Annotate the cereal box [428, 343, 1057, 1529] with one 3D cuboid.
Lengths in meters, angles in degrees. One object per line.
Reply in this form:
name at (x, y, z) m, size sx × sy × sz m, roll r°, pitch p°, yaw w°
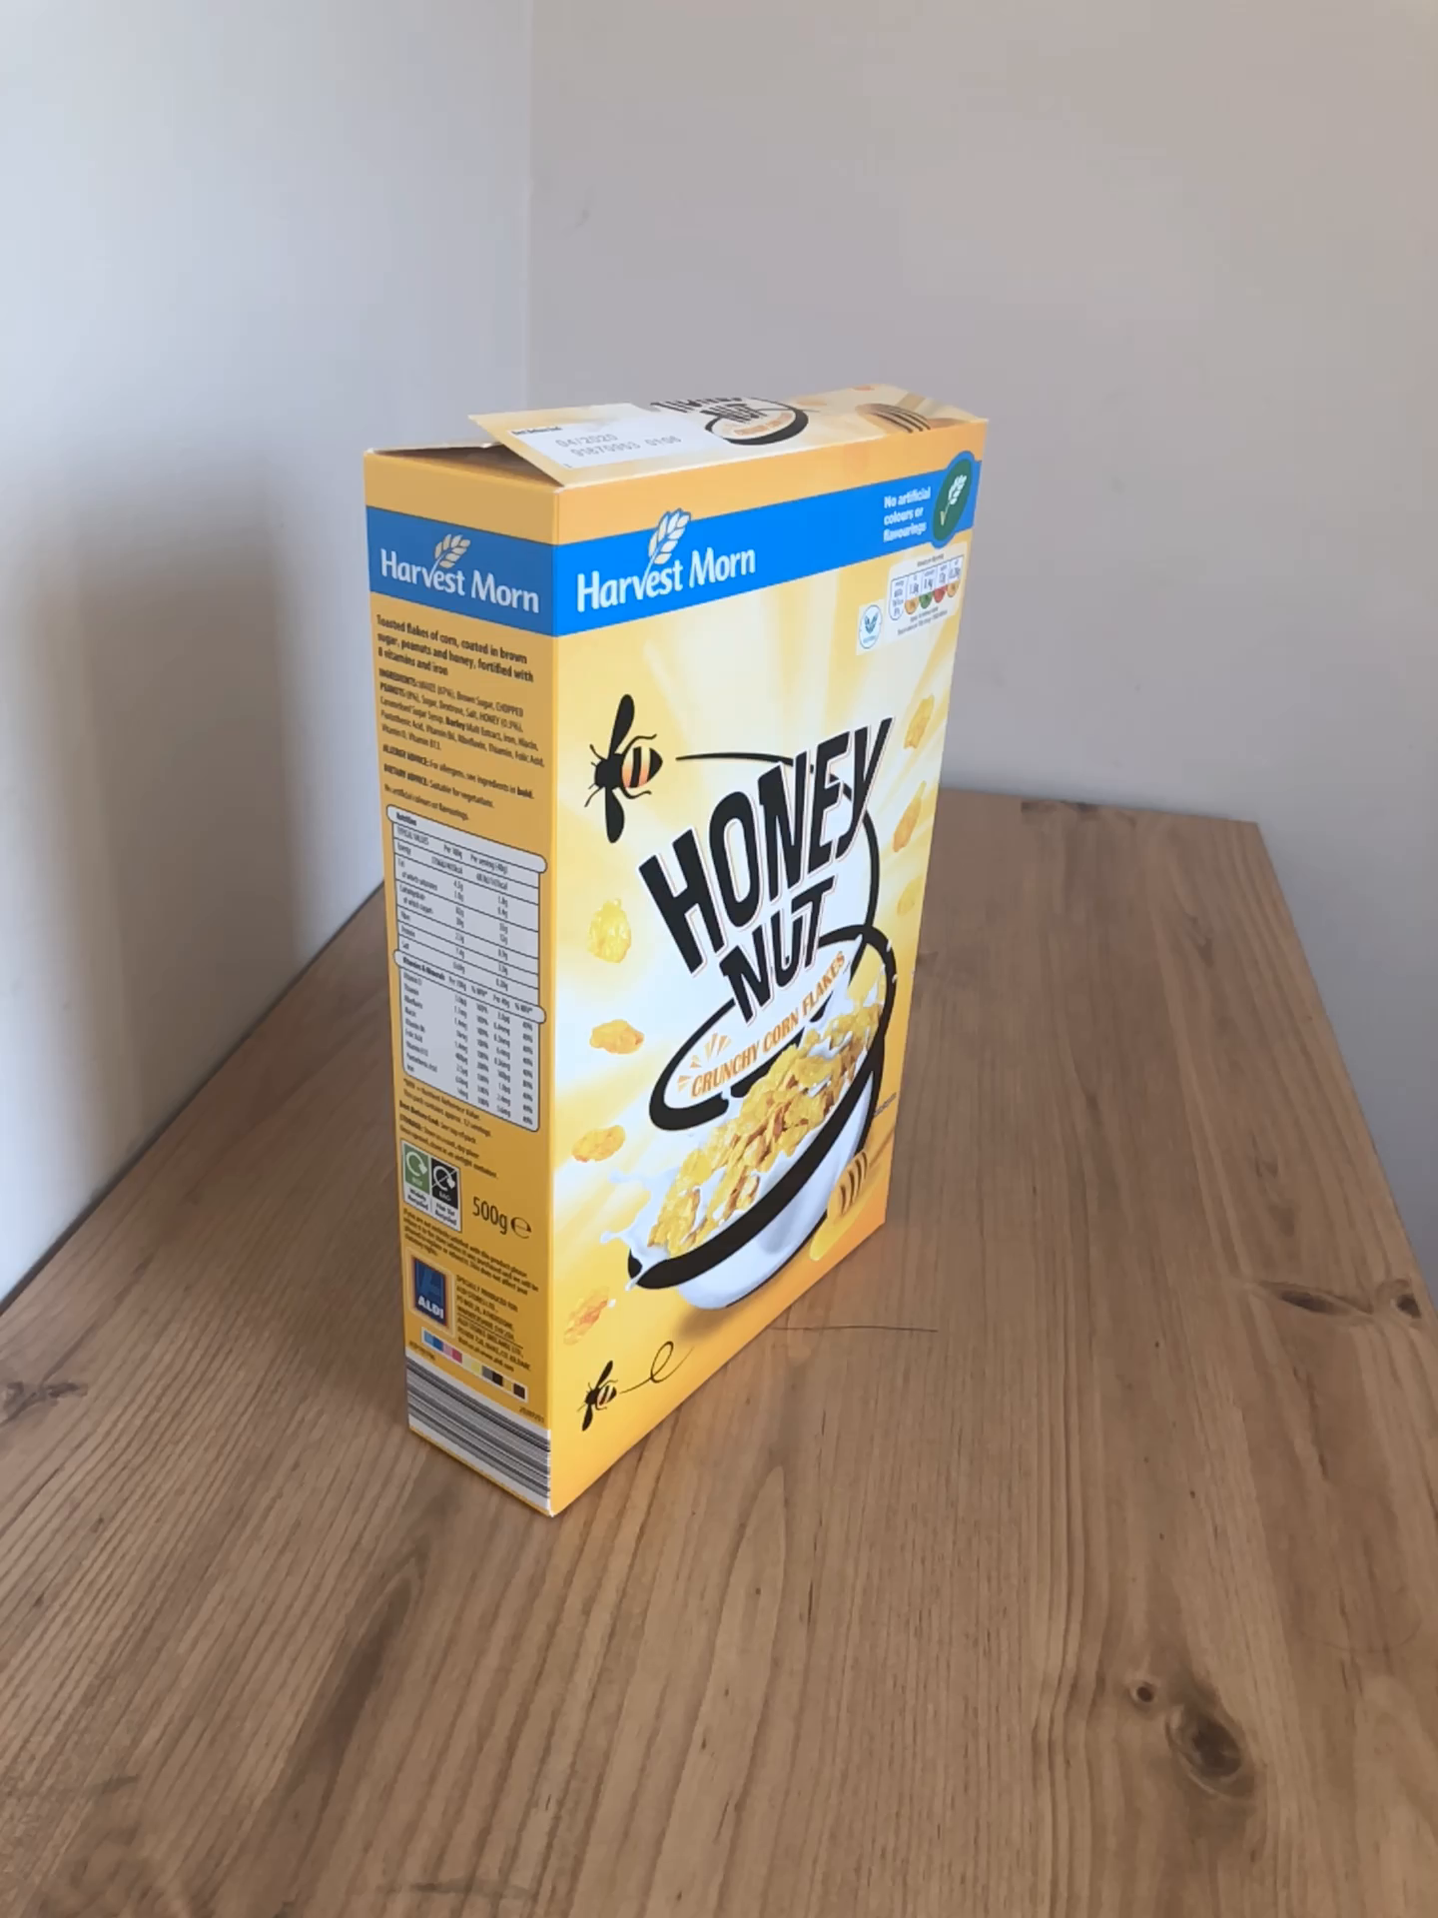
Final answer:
cereal box at (0.009, -0.017, 0.473) m, size 0.060 × 0.298 × 0.201 m, roll 20°, pitch 30°, yaw 29°
